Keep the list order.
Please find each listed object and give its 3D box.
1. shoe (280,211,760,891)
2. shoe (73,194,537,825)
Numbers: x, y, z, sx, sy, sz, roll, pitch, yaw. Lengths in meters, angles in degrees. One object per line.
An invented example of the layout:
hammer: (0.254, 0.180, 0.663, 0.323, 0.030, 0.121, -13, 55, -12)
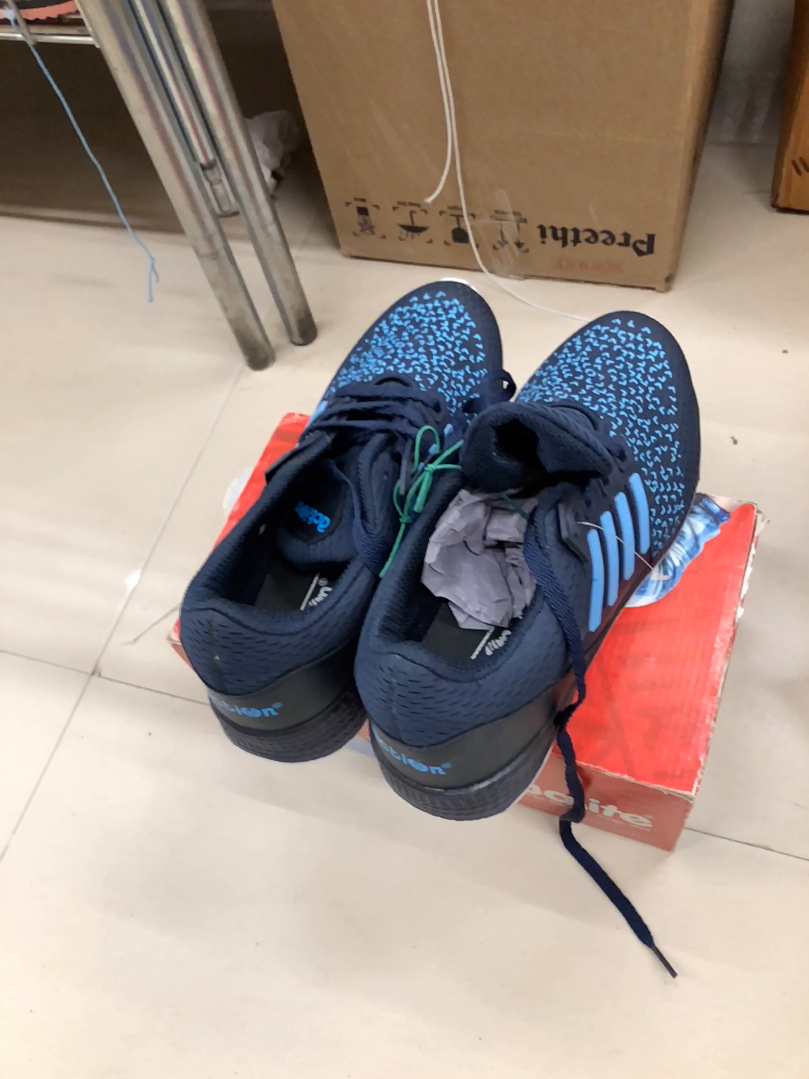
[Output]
shoe: (0.066, 0.000, 0.407, 0.093, 0.133, 0.264, 19, 65, 21)
shoe: (-0.023, -0.021, 0.437, 0.101, 0.133, 0.264, 13, 62, 18)
